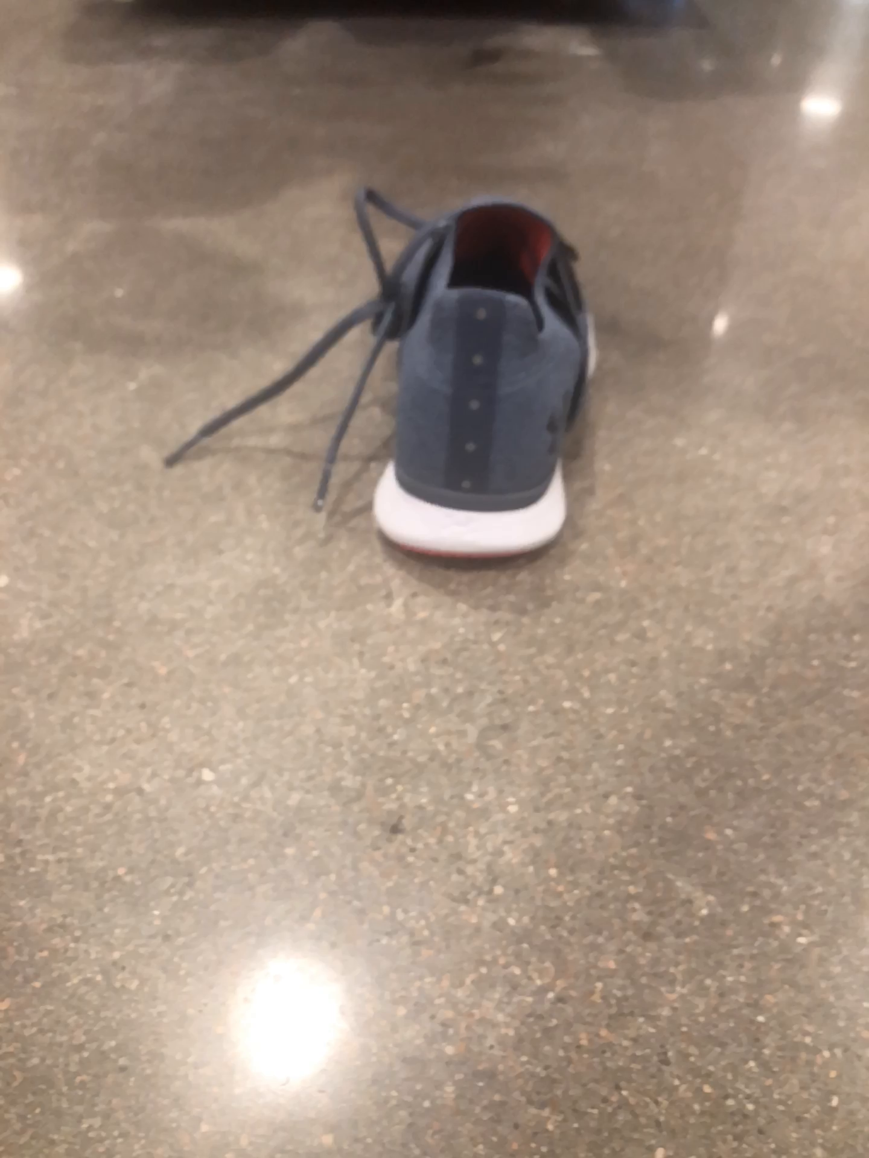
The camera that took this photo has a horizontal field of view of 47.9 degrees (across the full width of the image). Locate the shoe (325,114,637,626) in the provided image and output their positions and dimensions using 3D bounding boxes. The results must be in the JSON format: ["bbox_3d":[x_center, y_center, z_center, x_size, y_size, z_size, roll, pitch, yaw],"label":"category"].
[{"bbox_3d":[0.025,-0.110,0.442,0.100,0.109,0.251,5,42,3],"label":"shoe"}]
